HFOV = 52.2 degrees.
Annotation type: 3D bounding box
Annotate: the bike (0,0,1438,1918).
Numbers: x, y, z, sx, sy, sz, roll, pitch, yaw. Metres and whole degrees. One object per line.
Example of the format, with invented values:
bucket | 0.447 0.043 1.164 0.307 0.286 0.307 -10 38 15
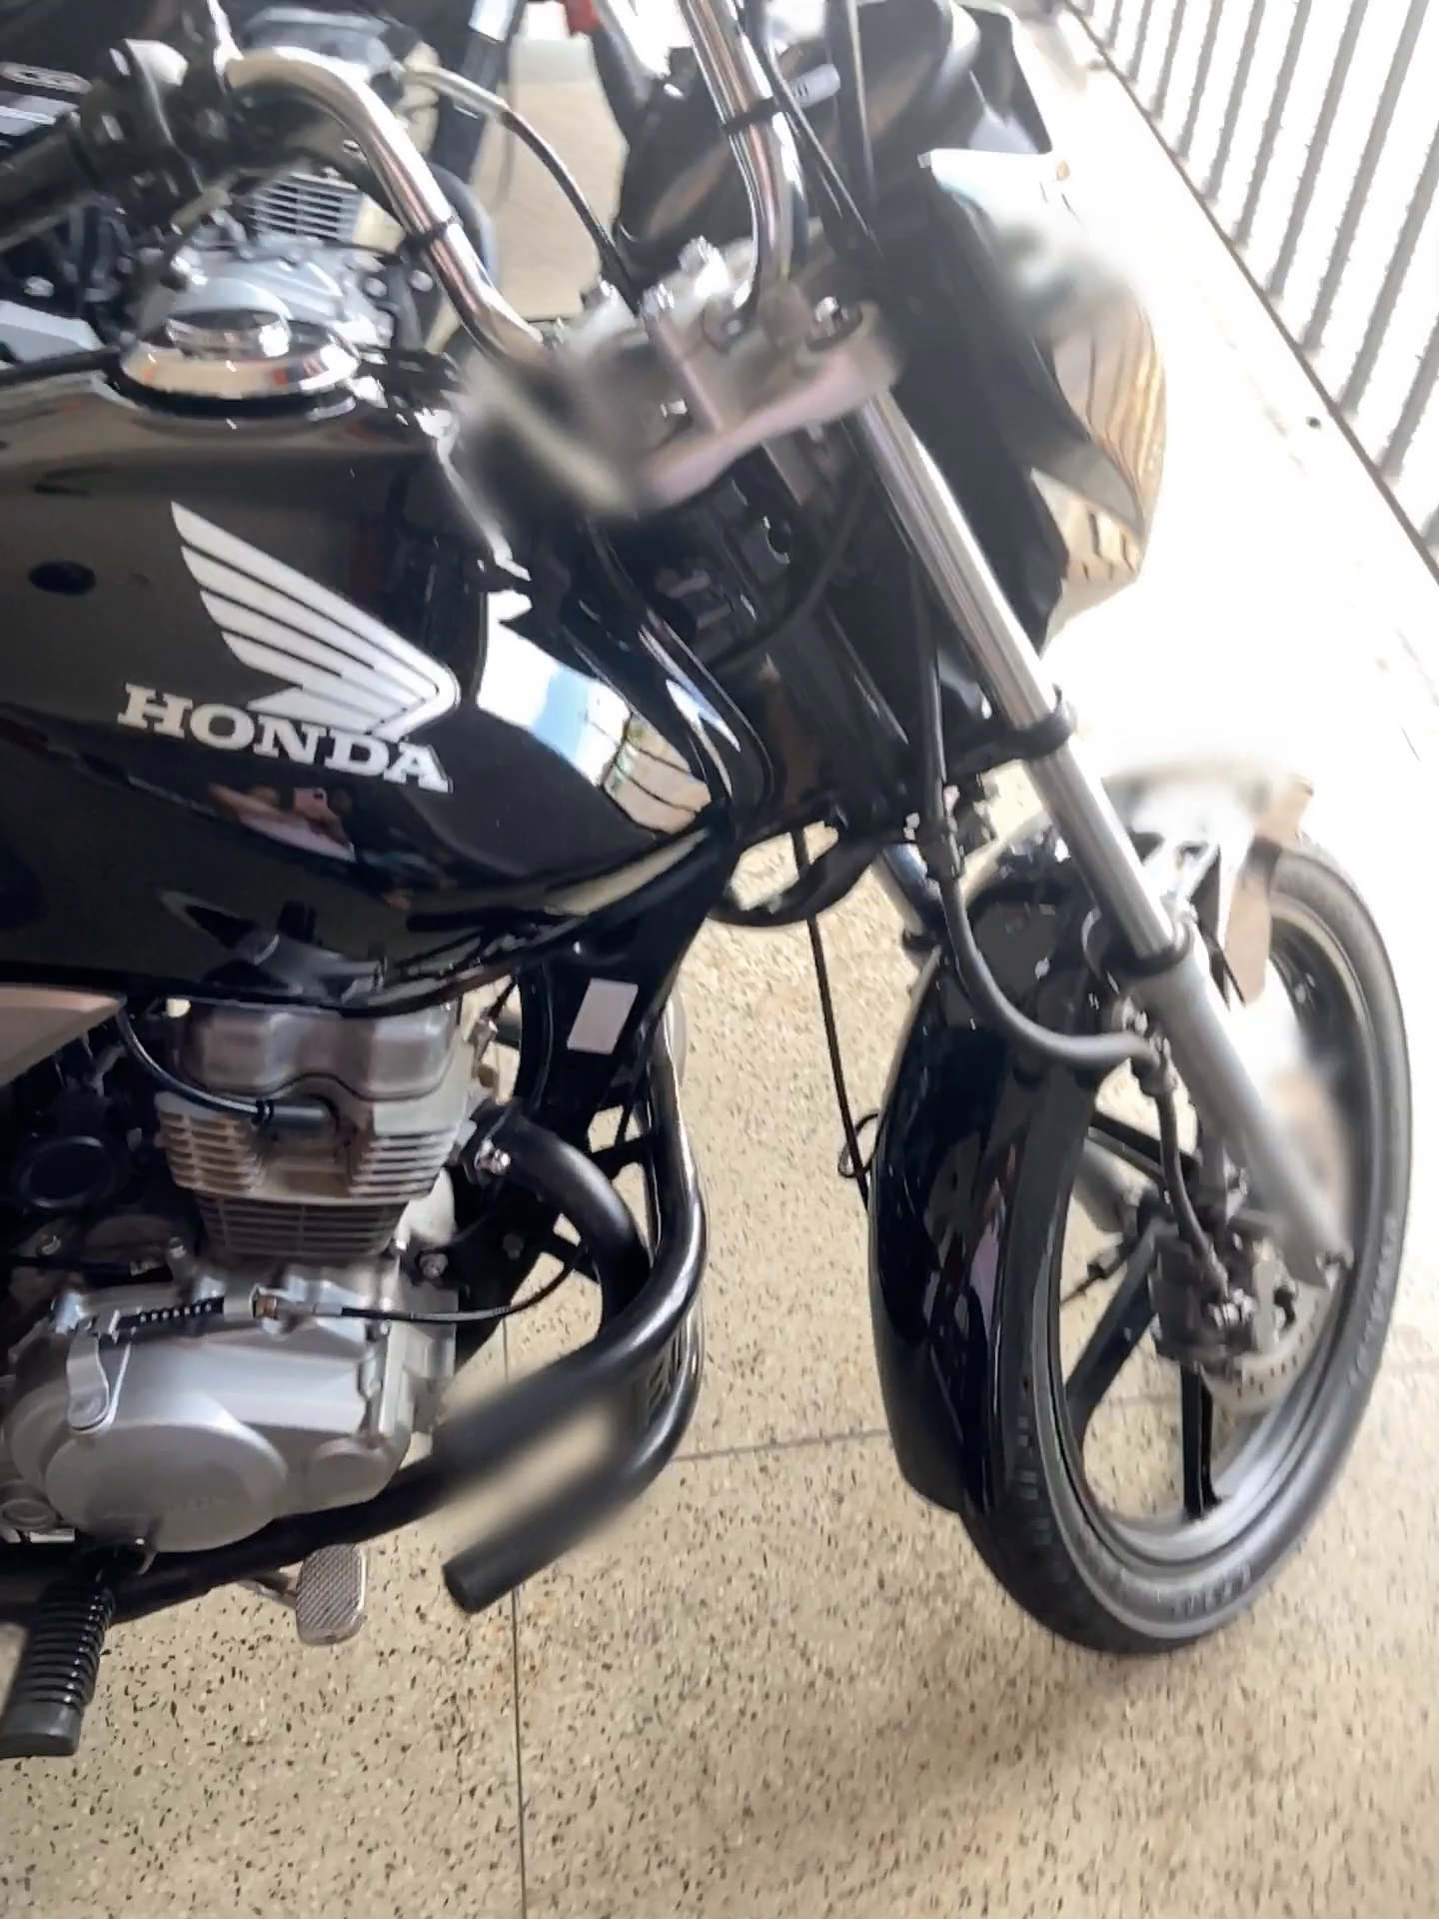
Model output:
bike | -0.363 -0.071 0.892 1.736 1.138 0.777 -9 53 -9
